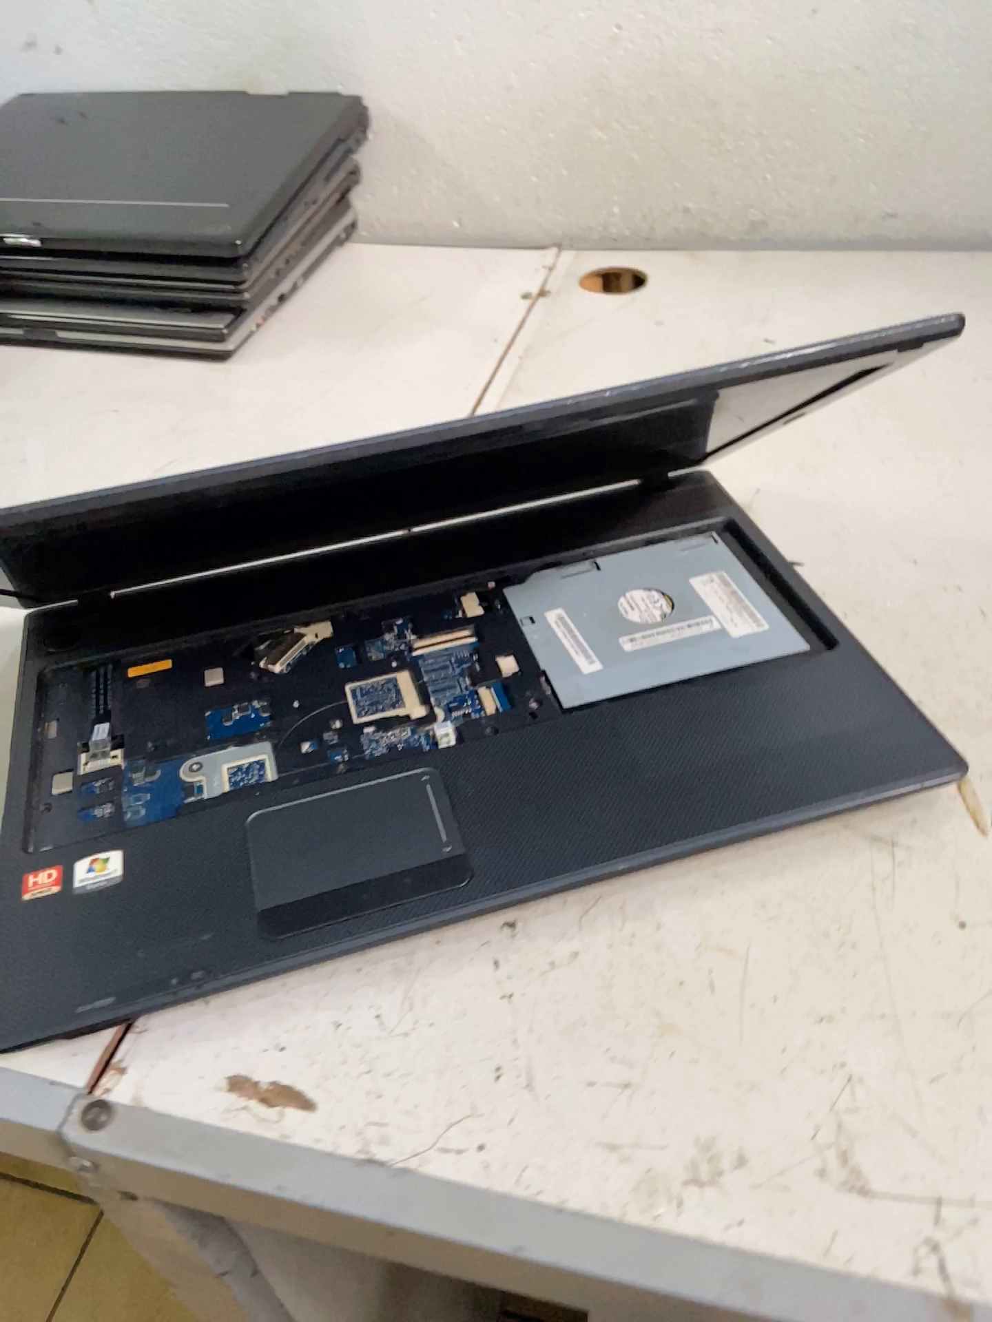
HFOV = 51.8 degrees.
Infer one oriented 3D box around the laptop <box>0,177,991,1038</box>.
[{"bbox_3d":[-0.033,-0.049,0.405,0.370,0.156,0.240,-13,41,-9],"label":"laptop"}]
